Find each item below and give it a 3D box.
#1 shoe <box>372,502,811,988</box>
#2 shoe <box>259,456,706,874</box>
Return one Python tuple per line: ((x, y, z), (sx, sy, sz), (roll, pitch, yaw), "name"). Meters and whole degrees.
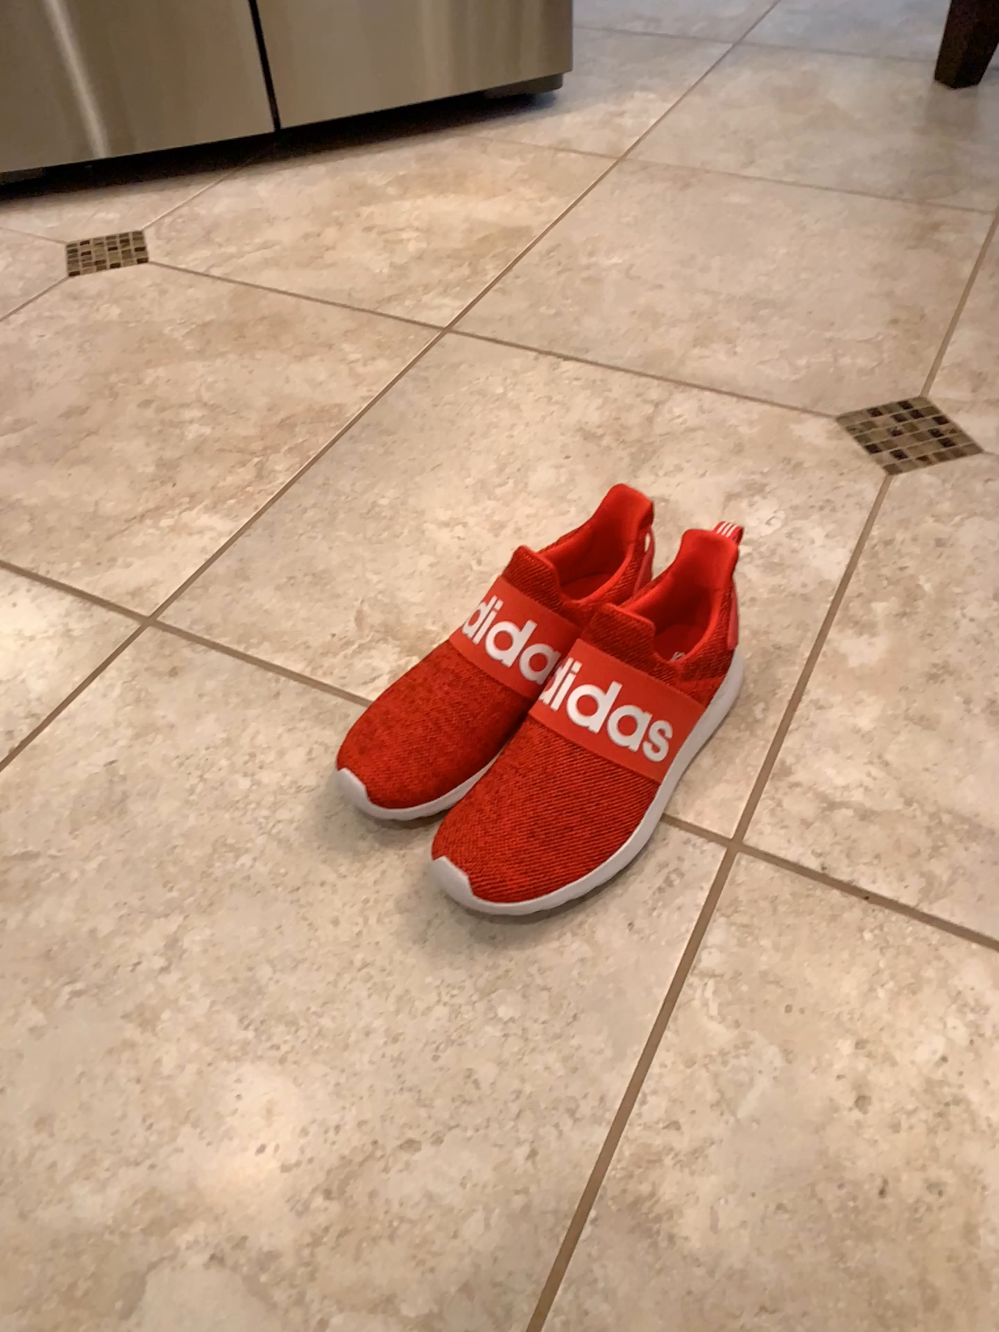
((0.070, 0.038, 0.670), (0.118, 0.119, 0.300), (29, 55, 27), "shoe")
((-0.001, -0.012, 0.728), (0.300, 0.119, 0.118), (-36, 54, -26), "shoe")
